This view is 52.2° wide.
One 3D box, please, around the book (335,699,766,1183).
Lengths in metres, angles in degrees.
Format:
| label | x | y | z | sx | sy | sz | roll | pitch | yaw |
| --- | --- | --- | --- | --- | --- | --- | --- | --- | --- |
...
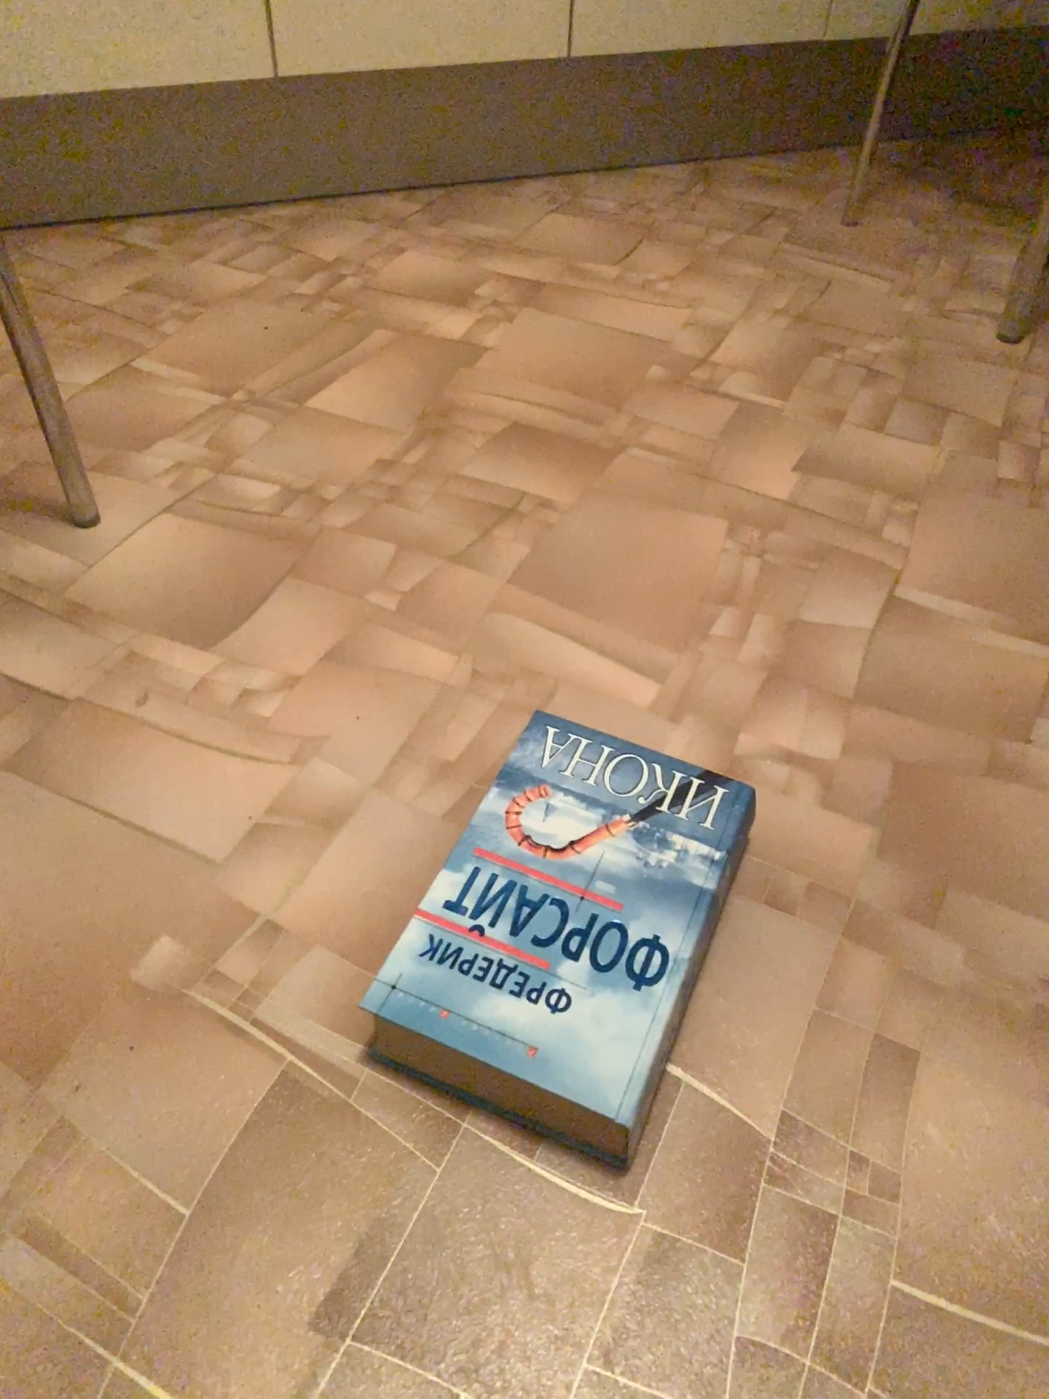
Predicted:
| label | x | y | z | sx | sy | sz | roll | pitch | yaw |
| --- | --- | --- | --- | --- | --- | --- | --- | --- | --- |
| book | 0.023 | 0.114 | 0.582 | 0.152 | 0.056 | 0.224 | 19 | 47 | 15 |
